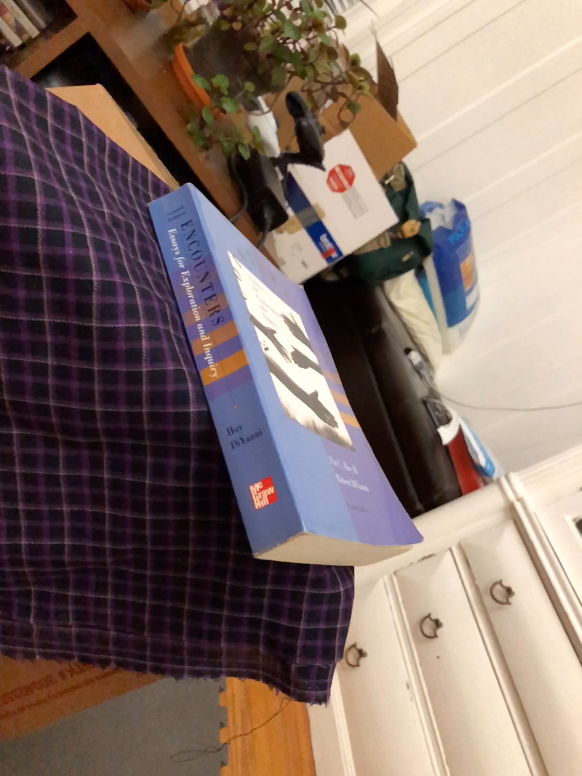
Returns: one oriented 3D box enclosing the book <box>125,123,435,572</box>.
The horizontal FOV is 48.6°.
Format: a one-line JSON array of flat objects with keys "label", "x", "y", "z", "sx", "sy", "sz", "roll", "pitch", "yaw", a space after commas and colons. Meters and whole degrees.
[{"label": "book", "x": -0.001, "y": -0.014, "z": 0.426, "sx": 0.200, "sy": 0.040, "sz": 0.260, "roll": 33, "pitch": 32, "yaw": -60}]
